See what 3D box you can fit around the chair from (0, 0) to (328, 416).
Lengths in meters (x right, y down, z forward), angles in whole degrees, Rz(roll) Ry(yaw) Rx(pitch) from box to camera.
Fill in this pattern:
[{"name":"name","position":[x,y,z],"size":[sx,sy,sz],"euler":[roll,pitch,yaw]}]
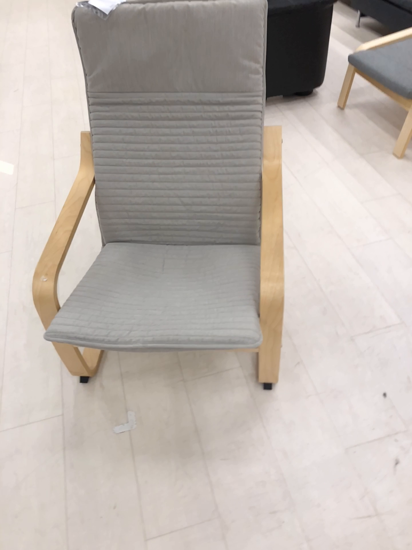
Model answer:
[{"name":"chair","position":[-0.116,-0.207,1.264],"size":[0.730,0.996,0.703],"euler":[2,45,8]}]
